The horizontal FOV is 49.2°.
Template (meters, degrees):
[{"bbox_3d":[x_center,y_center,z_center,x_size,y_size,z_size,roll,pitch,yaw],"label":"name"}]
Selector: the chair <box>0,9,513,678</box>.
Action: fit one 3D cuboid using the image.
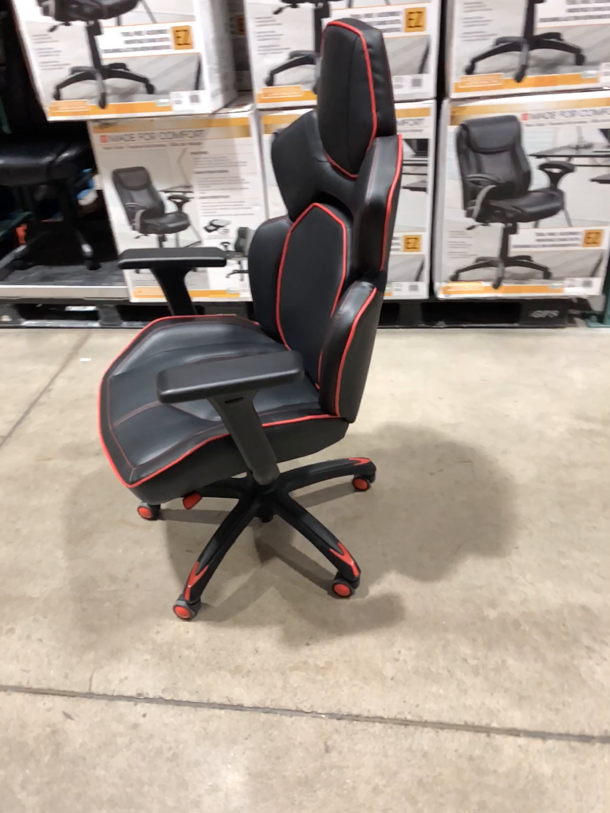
[{"bbox_3d":[-0.125,-0.176,1.486,0.720,1.145,0.723,-17,36,-18],"label":"chair"}]
